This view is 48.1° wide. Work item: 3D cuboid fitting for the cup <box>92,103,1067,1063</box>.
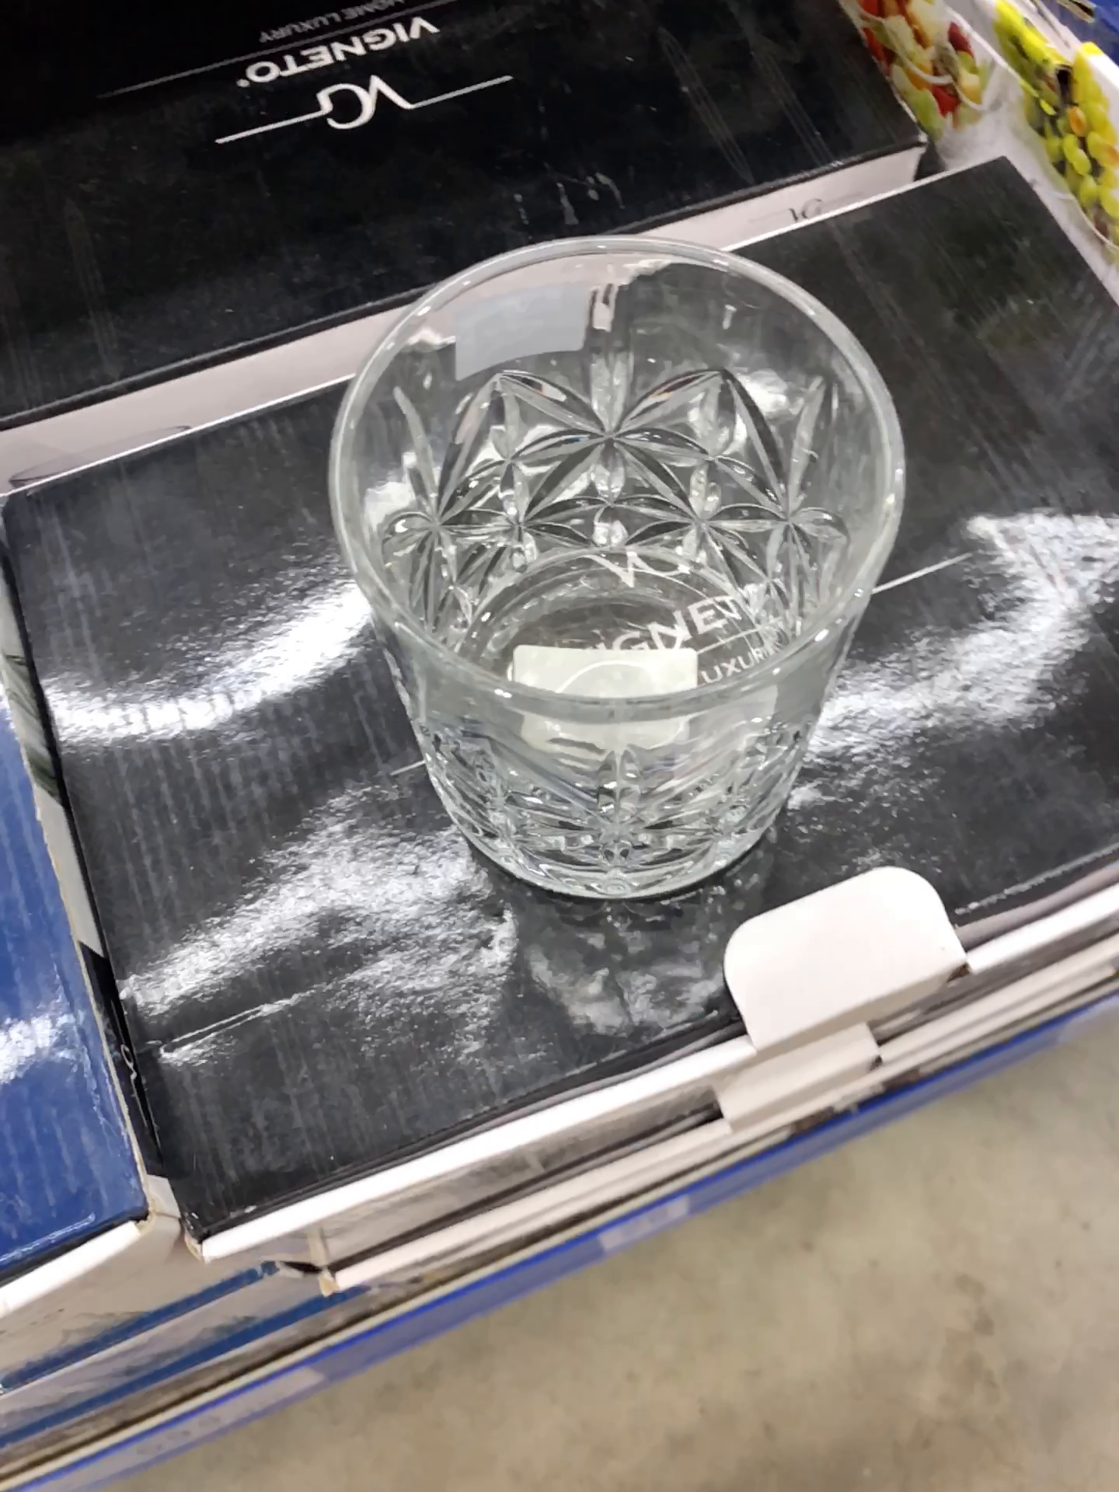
[{"bbox_3d":[0.002,-0.022,0.225,0.100,0.100,0.100,-1,67,2],"label":"cup"}]
